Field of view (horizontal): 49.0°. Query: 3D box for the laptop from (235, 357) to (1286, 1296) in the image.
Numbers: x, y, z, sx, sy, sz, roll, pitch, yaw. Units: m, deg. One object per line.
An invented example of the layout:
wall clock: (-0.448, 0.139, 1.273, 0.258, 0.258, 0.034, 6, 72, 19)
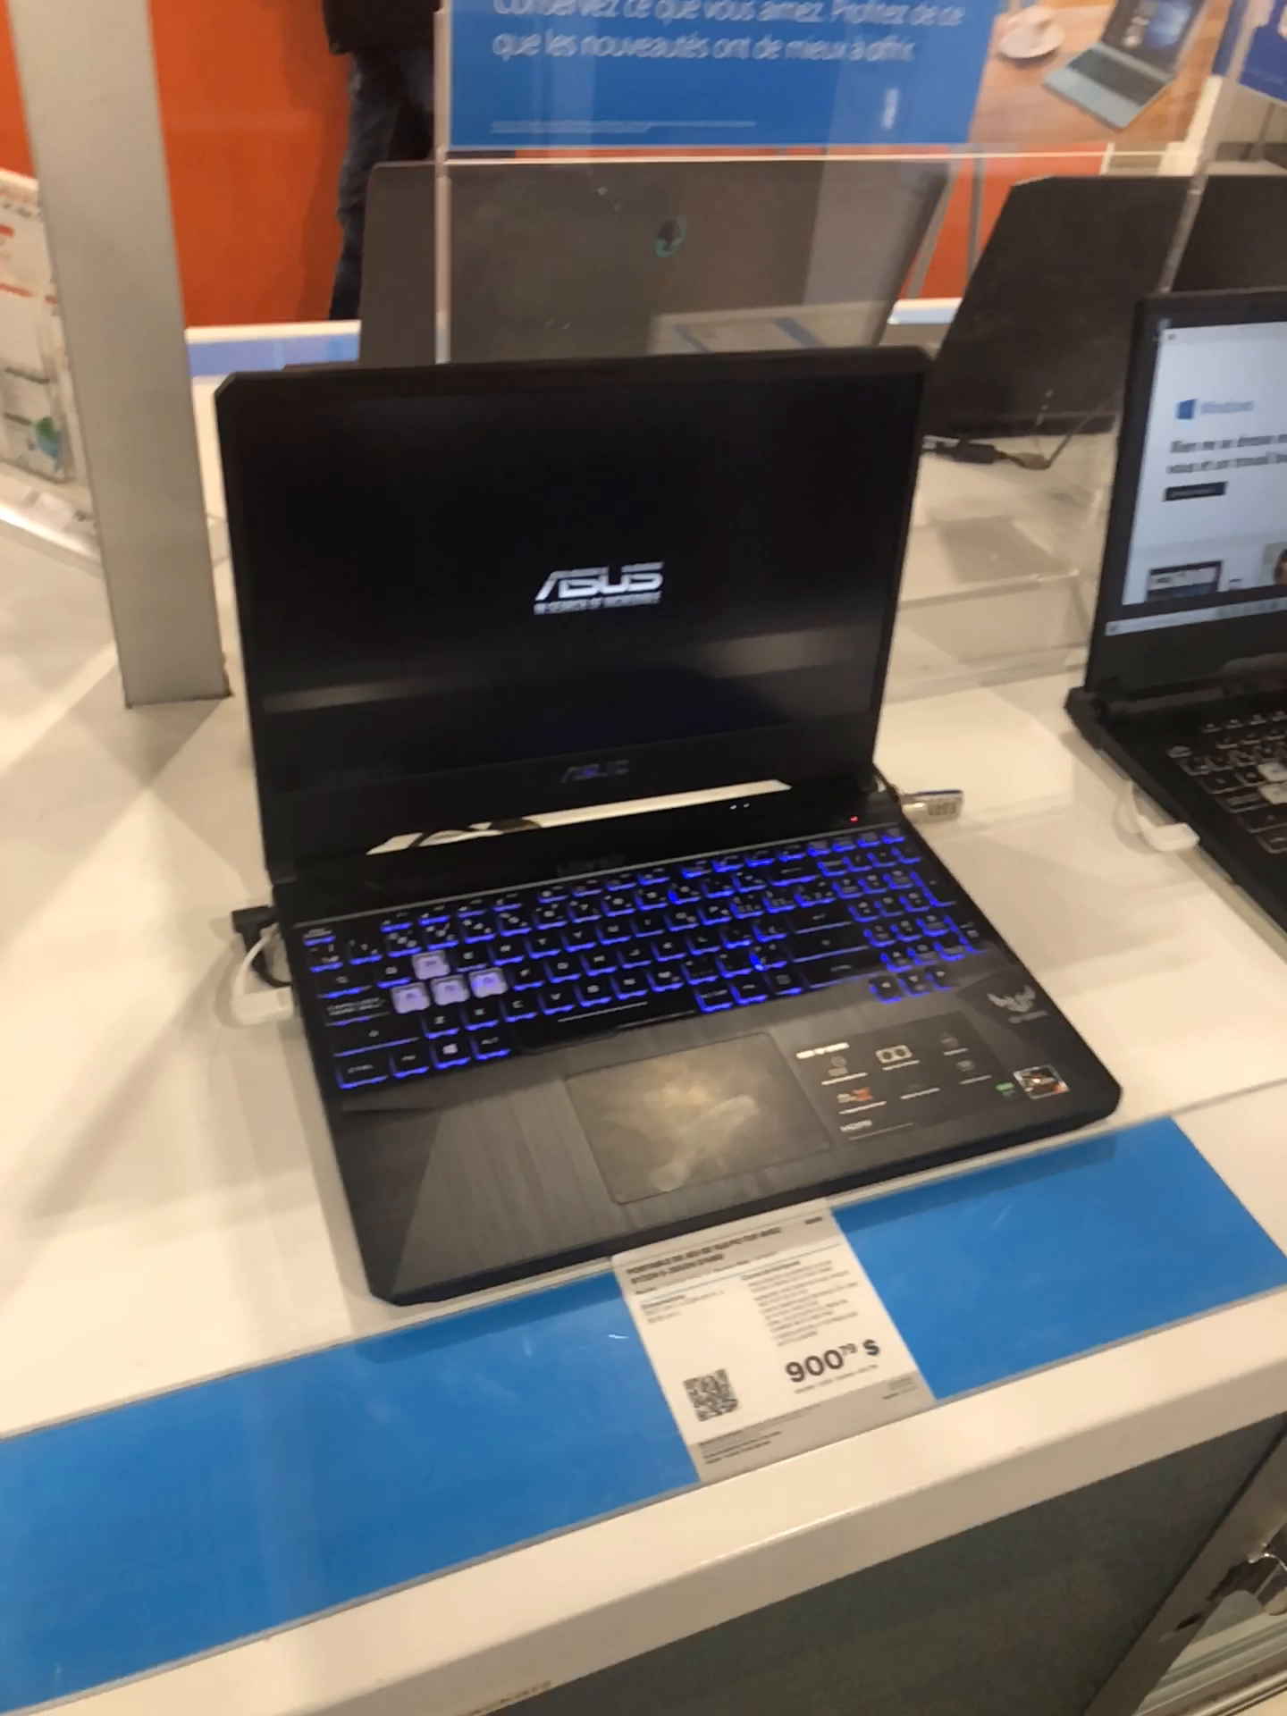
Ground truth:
laptop: (0.022, -0.045, 0.645, 0.350, 0.235, 0.302, -10, 42, -19)
